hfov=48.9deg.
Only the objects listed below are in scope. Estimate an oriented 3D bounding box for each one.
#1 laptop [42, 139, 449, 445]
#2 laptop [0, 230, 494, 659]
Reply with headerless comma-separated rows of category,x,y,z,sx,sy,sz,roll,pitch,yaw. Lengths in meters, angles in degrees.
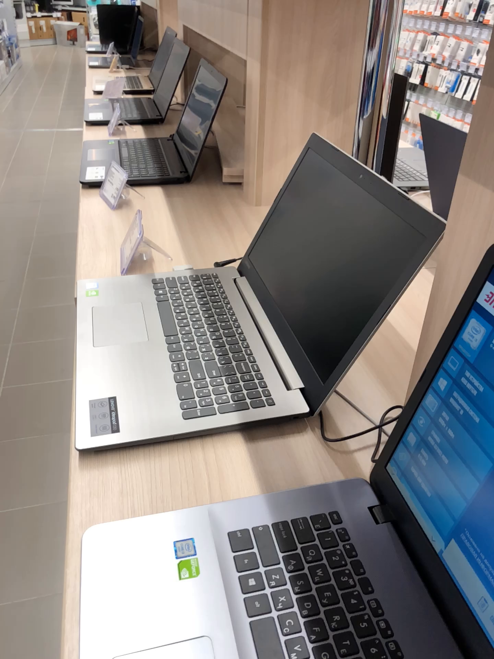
laptop,-0.034,-0.086,0.682,0.365,0.208,0.372,-6,32,-12
laptop,0.071,0.155,0.269,0.334,0.246,0.405,-6,32,-12
